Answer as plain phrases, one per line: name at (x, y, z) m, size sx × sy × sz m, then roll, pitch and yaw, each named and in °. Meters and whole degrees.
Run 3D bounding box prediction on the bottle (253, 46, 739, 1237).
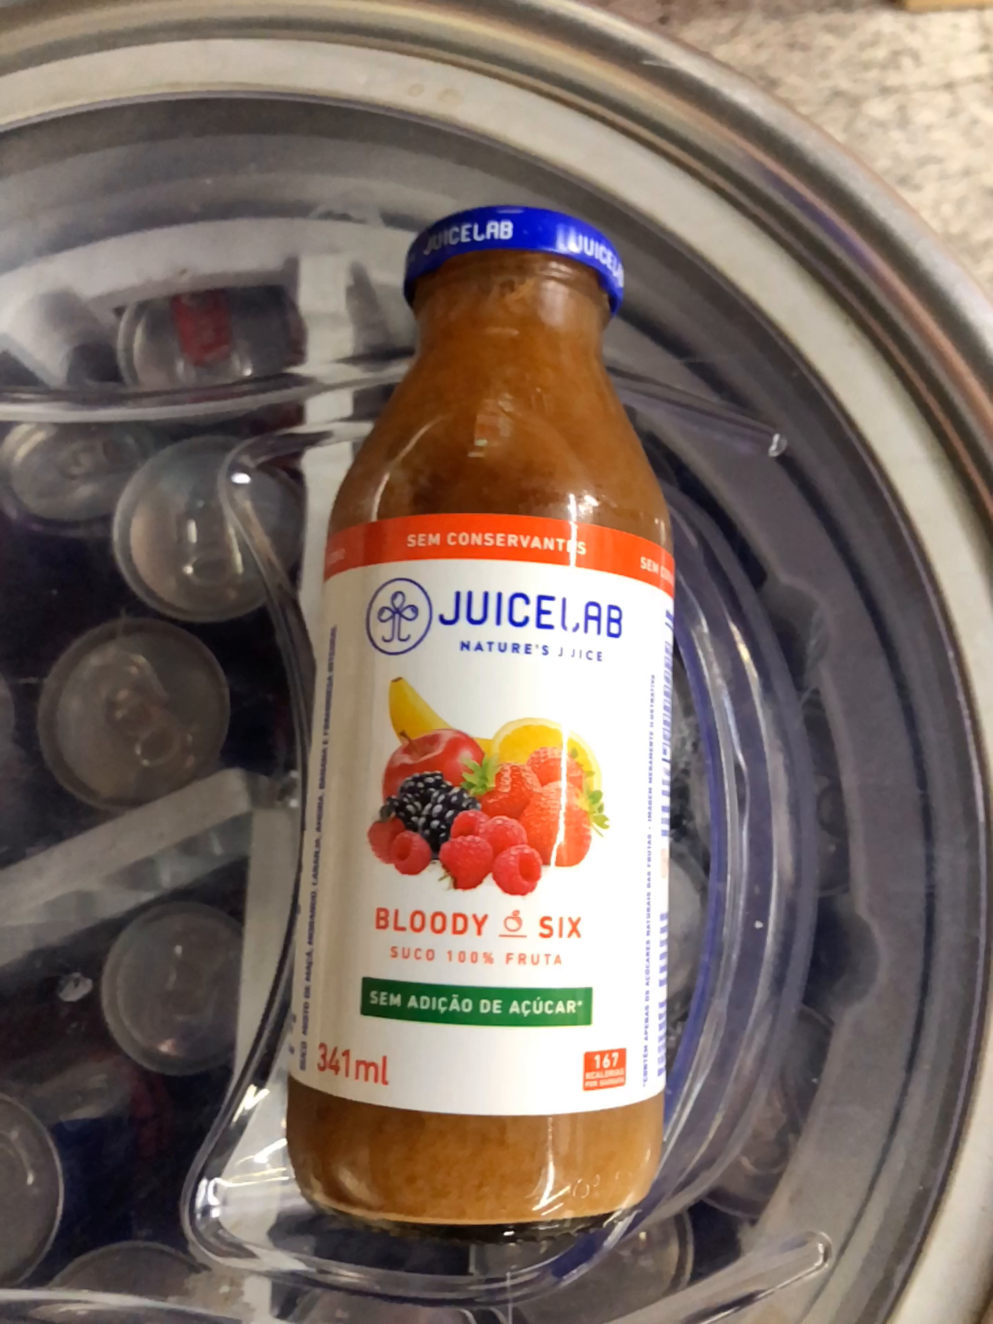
bottle at (0.000, -0.005, 0.208) m, size 0.070 × 0.060 × 0.190 m, roll 3°, pitch 79°, yaw -6°
